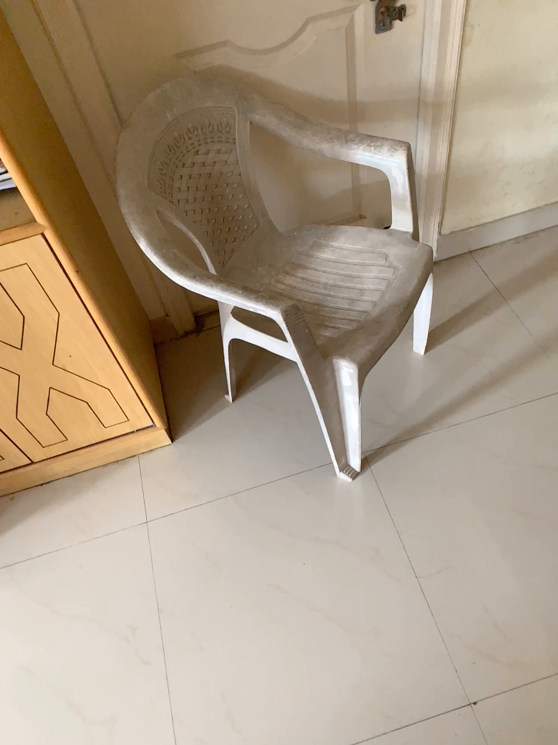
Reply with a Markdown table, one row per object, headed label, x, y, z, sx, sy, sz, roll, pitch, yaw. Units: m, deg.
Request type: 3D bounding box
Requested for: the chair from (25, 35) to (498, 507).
| label | x | y | z | sx | sy | sz | roll | pitch | yaw |
| --- | --- | --- | --- | --- | --- | --- | --- | --- | --- |
| chair | 0.013 | -0.240 | 1.347 | 0.672 | 0.725 | 0.613 | 24 | 60 | 25 |
